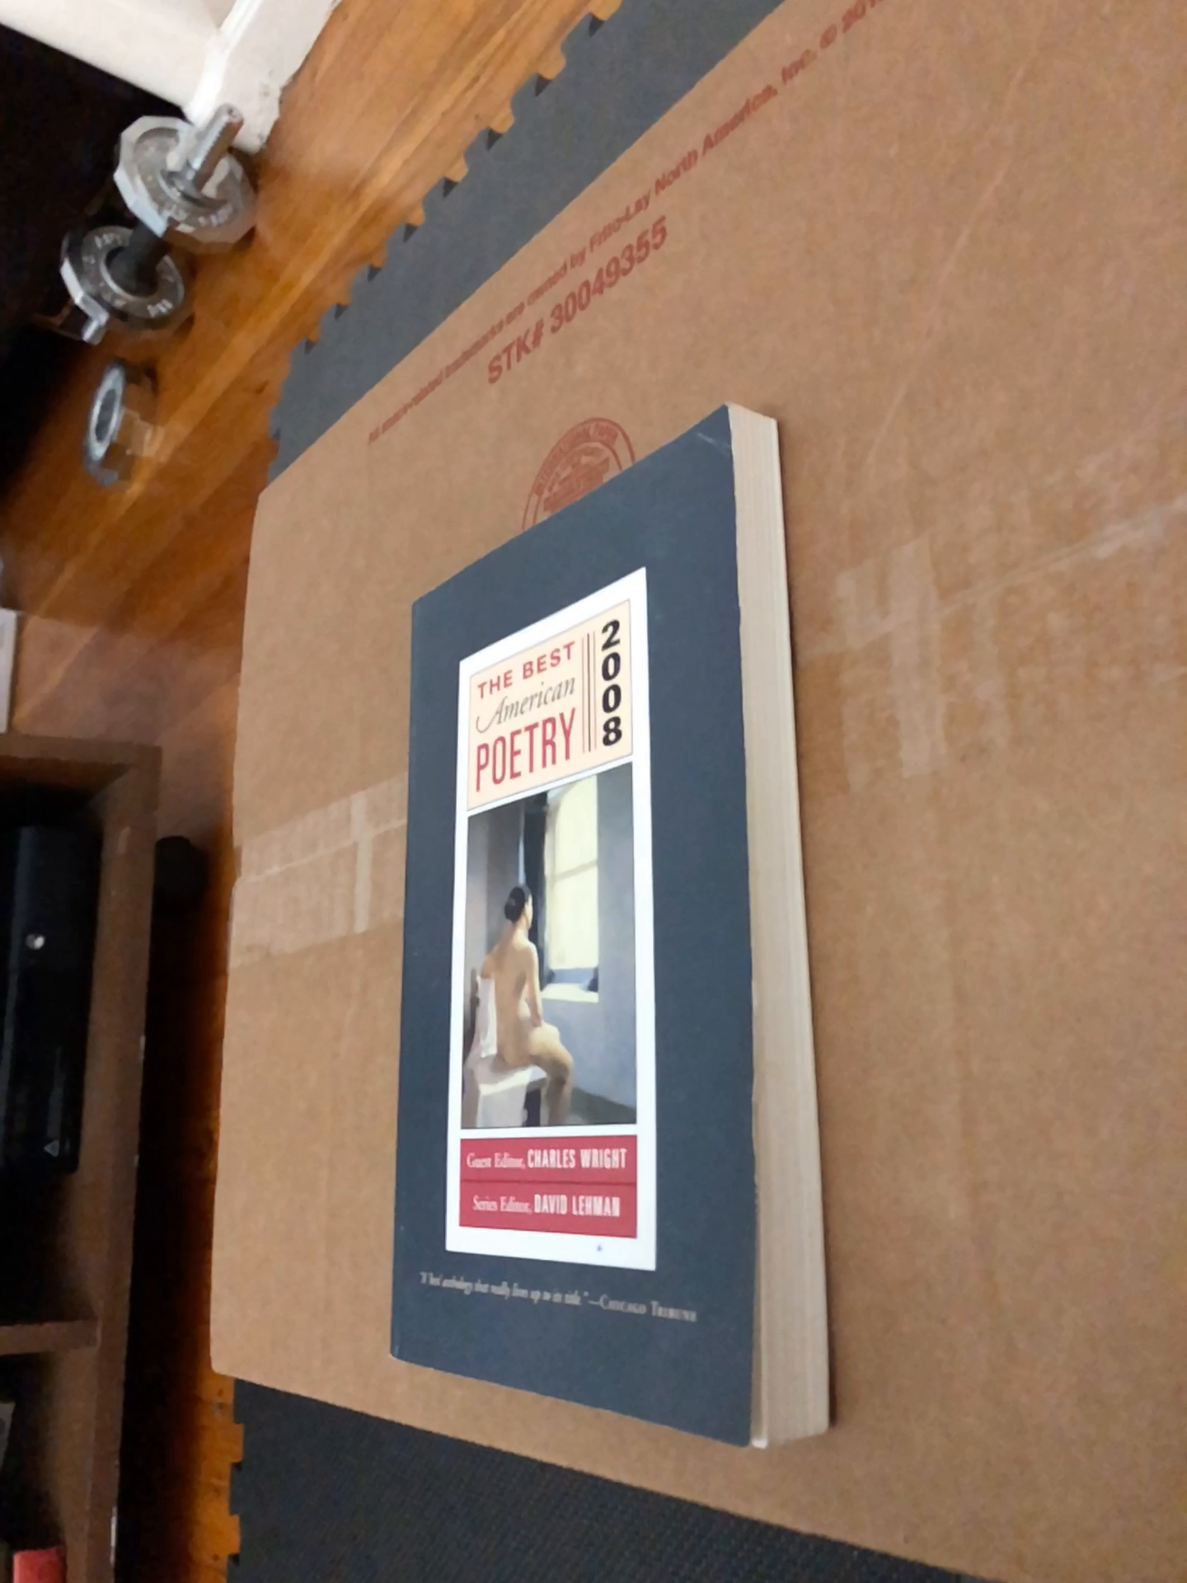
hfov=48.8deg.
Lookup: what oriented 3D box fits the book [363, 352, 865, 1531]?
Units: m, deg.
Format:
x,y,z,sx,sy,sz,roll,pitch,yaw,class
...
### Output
x,y,z,sx,sy,sz,roll,pitch,yaw,class
-0.006,0.033,0.316,0.151,0.020,0.230,-21,63,50,book
